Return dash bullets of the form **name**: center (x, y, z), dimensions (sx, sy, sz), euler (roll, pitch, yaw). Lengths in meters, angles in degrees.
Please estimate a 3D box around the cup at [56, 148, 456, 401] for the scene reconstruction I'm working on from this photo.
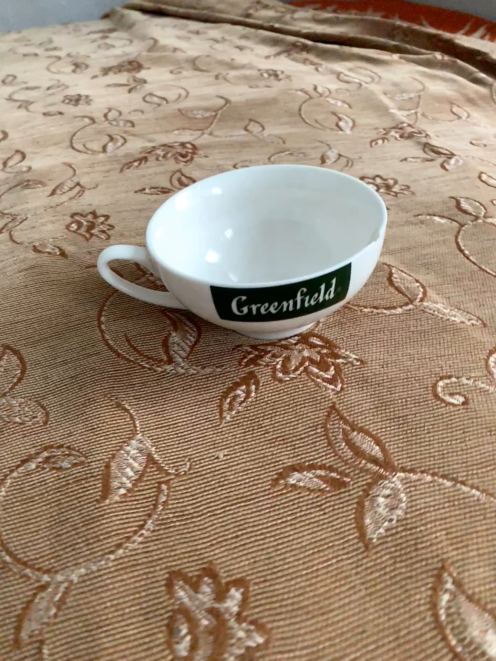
- **cup**: center (-0.003, -0.034, 0.232), dimensions (0.140, 0.040, 0.111), euler (-9, 40, -5)
